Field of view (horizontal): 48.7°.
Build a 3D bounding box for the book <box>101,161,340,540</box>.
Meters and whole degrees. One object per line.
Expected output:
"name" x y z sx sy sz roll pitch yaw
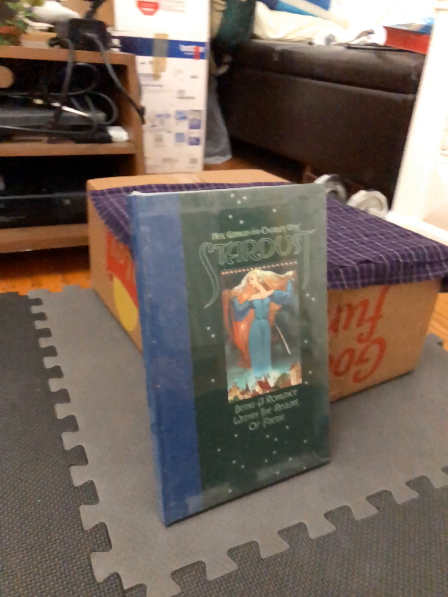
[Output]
"book" 0.013 0.040 0.492 0.220 0.329 0.050 -11 15 -27
